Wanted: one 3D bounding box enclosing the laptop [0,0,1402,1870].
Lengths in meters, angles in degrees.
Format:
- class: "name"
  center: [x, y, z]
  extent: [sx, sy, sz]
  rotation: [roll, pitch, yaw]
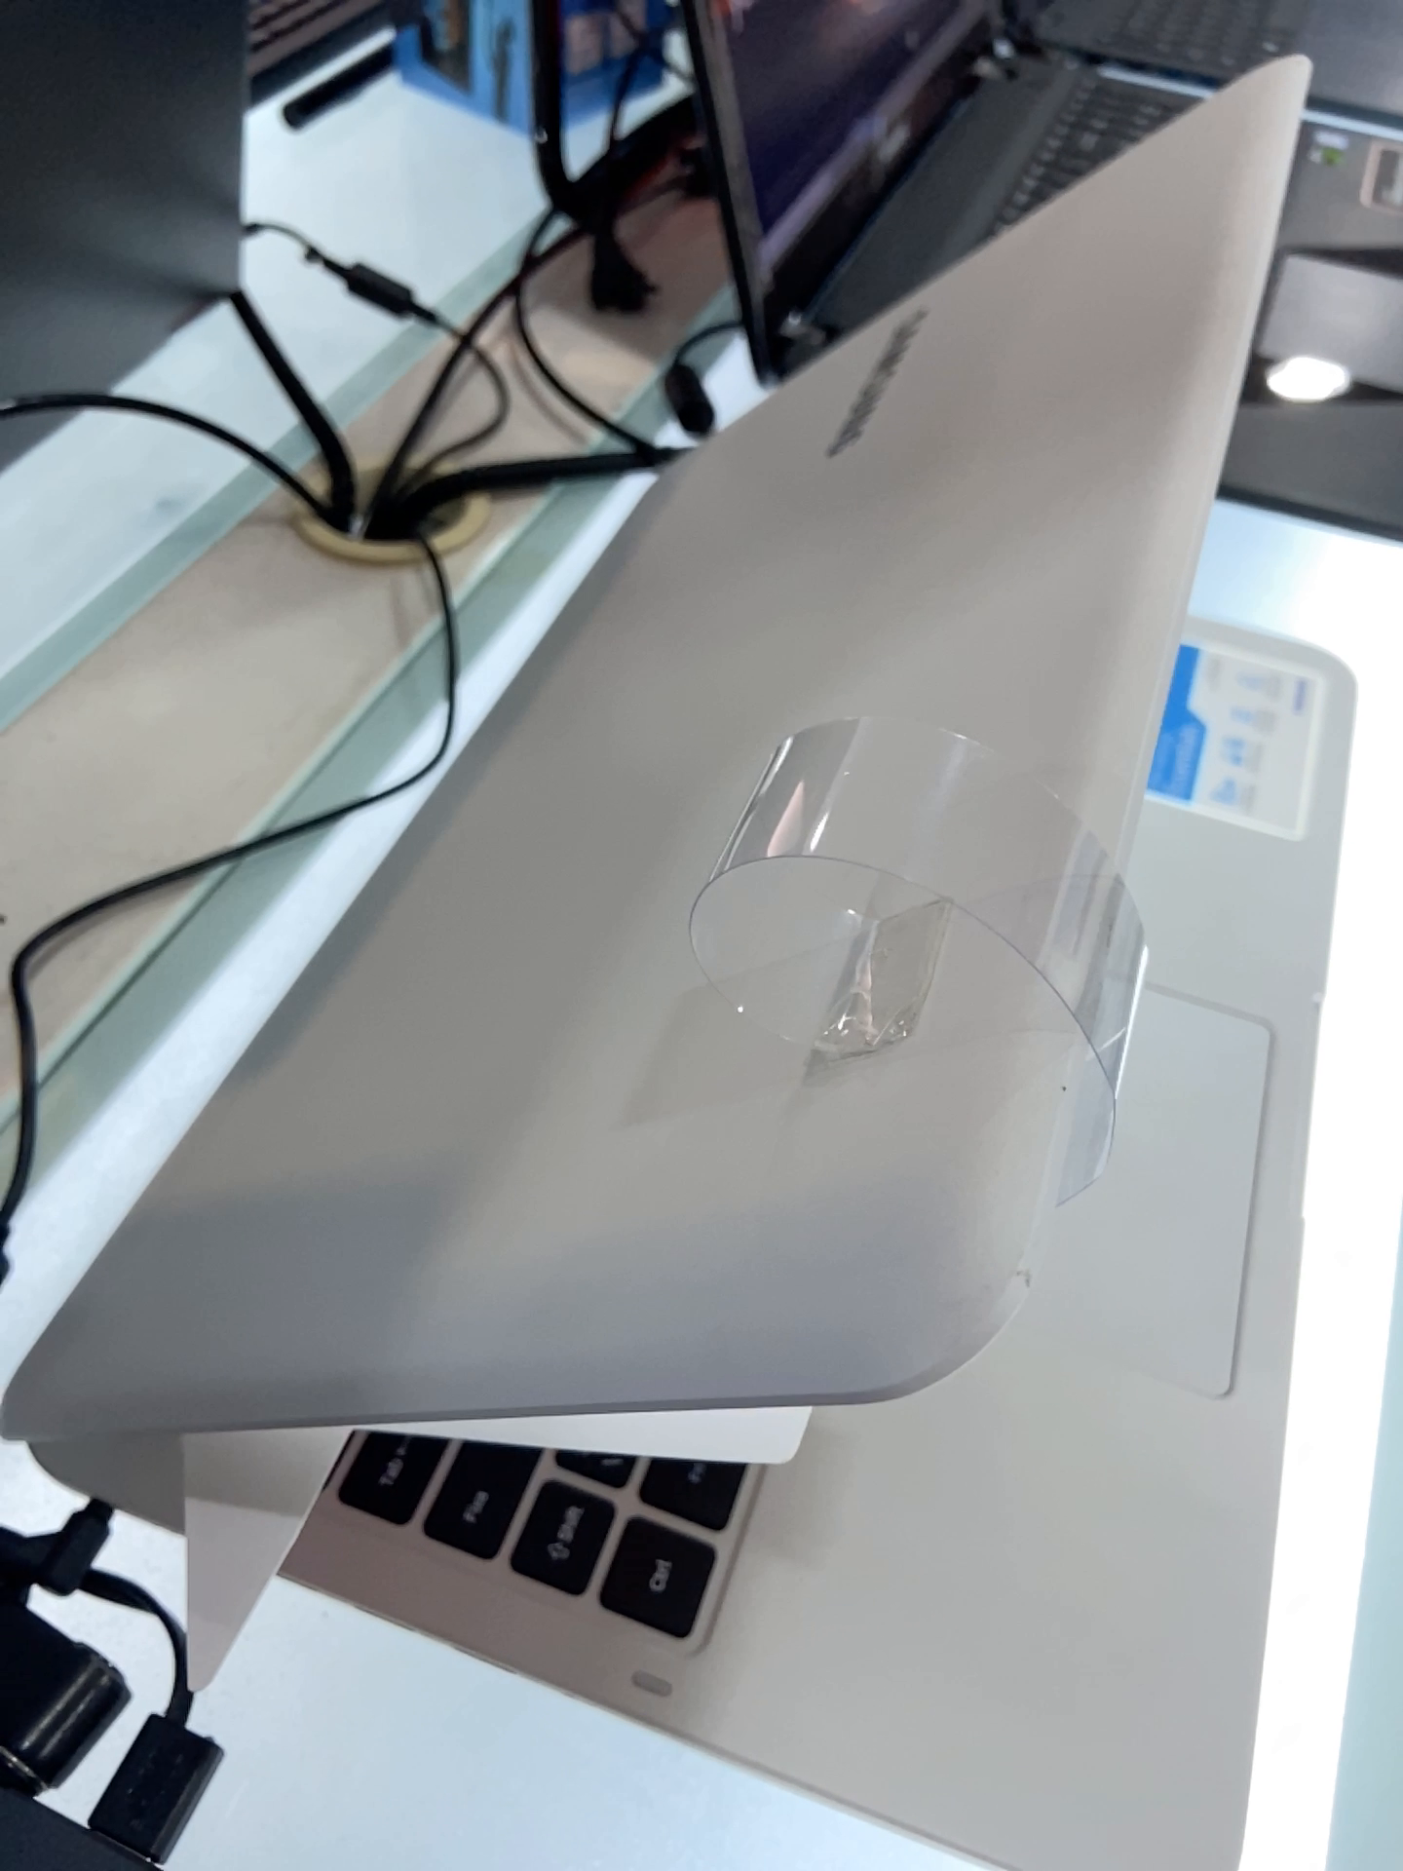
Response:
- class: "laptop"
  center: [0.042, -0.049, 0.323]
  extent: [0.232, 0.162, 0.369]
  rotation: [17, 50, 11]
